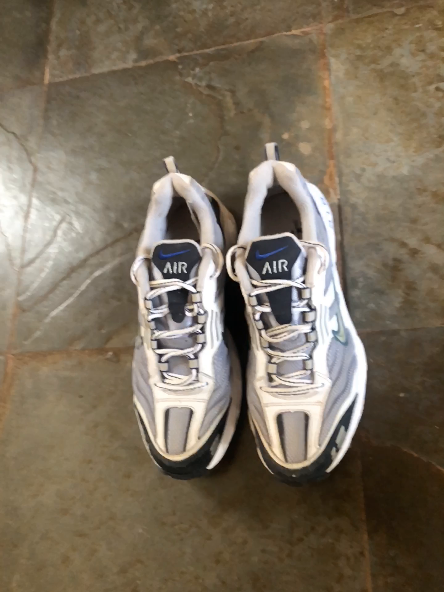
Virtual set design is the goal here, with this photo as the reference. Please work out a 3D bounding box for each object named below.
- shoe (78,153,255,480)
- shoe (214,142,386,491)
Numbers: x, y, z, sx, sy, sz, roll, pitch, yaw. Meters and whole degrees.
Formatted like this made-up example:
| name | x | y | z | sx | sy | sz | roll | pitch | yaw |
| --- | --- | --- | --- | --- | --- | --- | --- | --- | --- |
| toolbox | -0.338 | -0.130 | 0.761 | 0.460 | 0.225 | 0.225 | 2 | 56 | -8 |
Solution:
| name | x | y | z | sx | sy | sz | roll | pitch | yaw |
| --- | --- | --- | --- | --- | --- | --- | --- | --- | --- |
| shoe | -0.040 | 0.024 | 0.445 | 0.110 | 0.120 | 0.261 | -6 | 71 | 13 |
| shoe | 0.062 | 0.021 | 0.415 | 0.110 | 0.110 | 0.261 | -6 | 71 | 13 |
